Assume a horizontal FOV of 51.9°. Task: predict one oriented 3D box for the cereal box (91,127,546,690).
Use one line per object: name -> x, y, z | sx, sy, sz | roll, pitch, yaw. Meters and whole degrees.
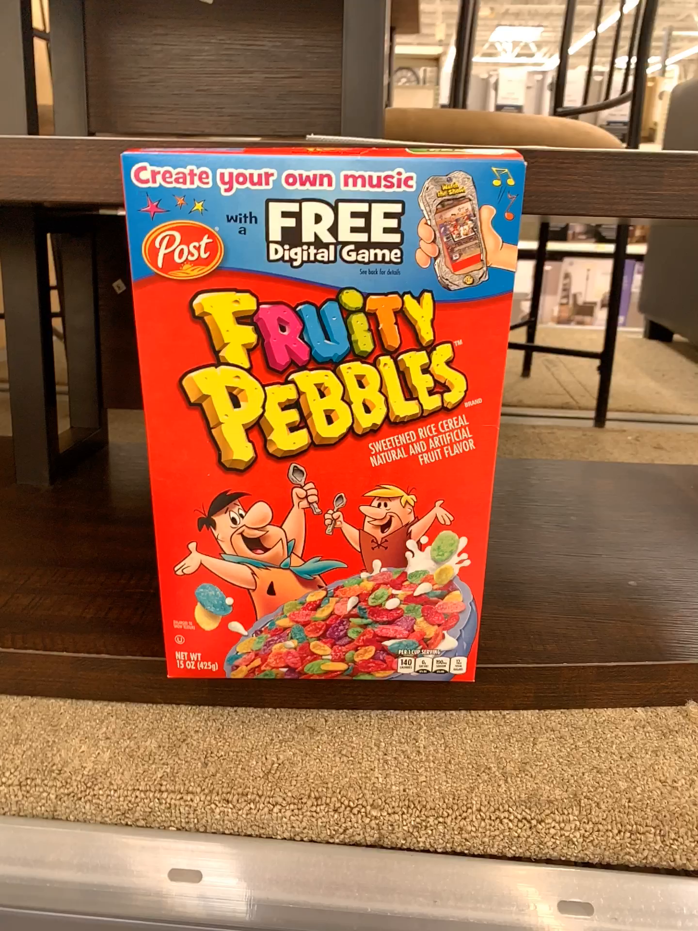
cereal box -> -0.018, -0.020, 0.413 | 0.210, 0.309, 0.060 | 1, 21, -1
